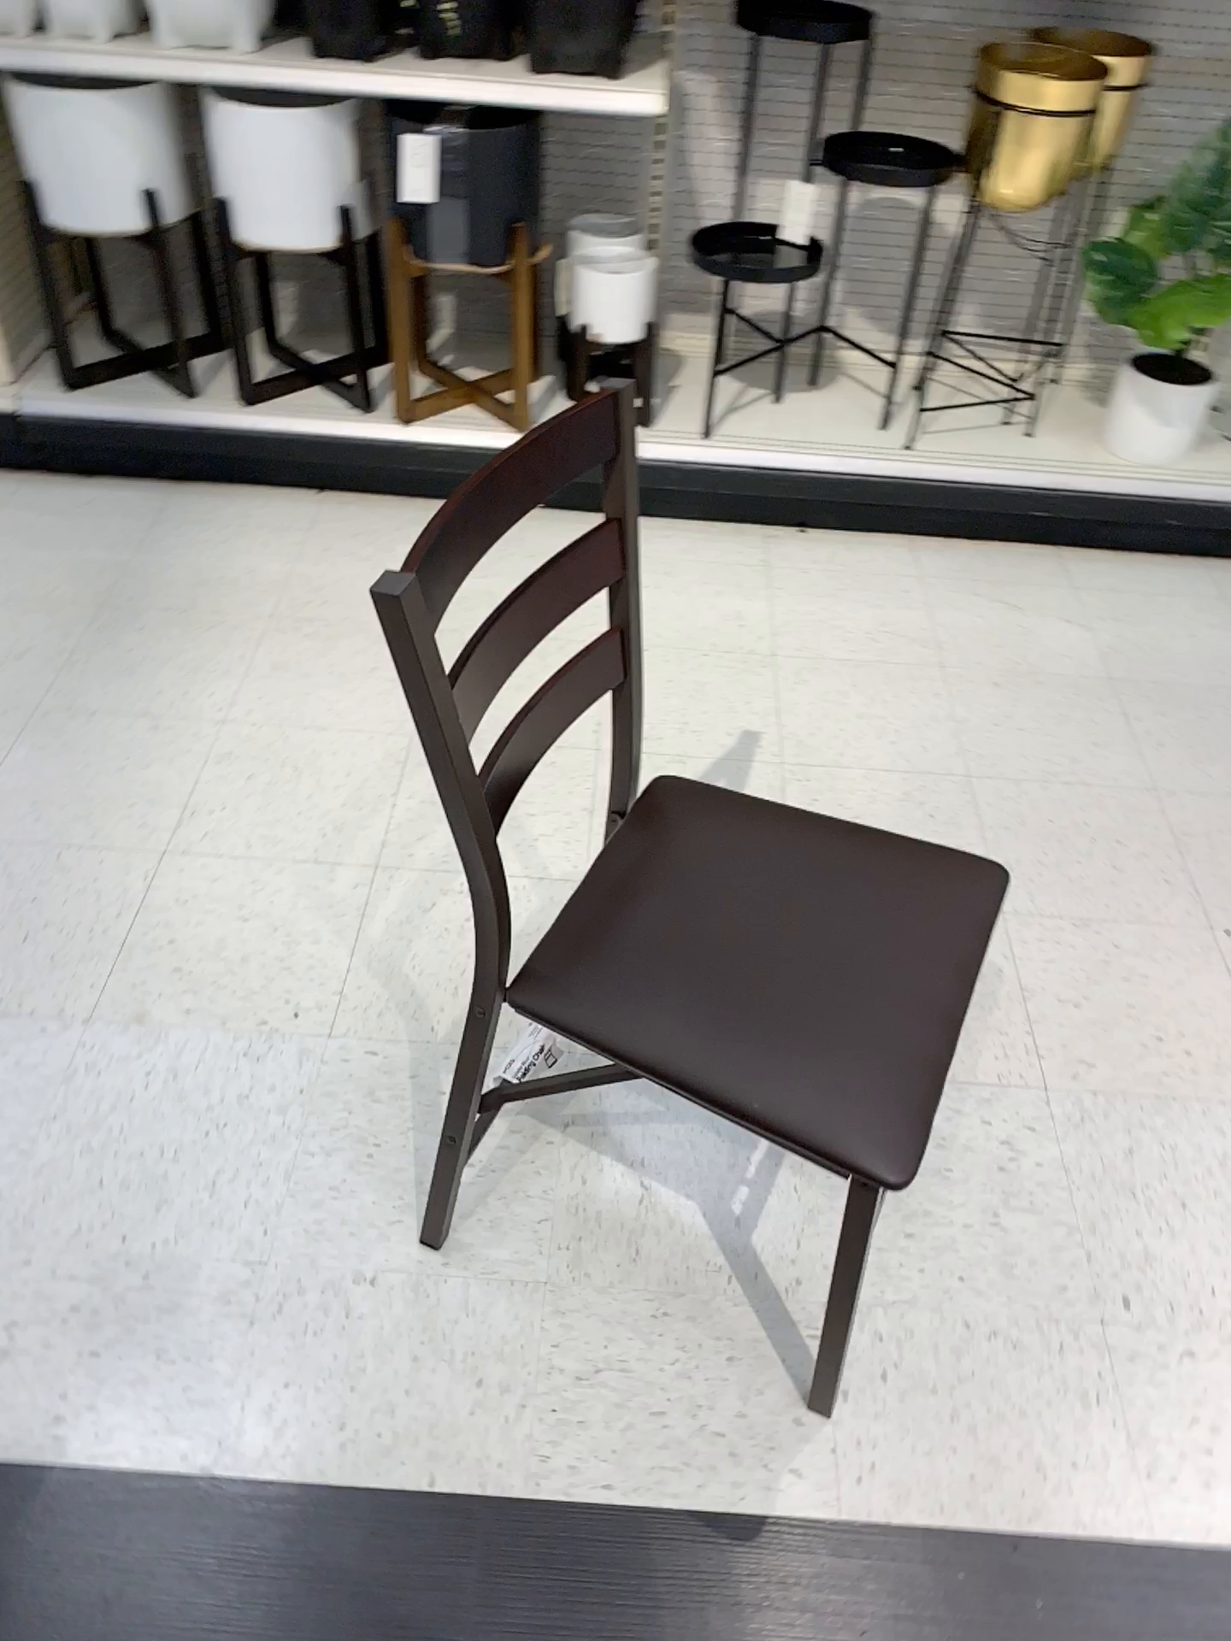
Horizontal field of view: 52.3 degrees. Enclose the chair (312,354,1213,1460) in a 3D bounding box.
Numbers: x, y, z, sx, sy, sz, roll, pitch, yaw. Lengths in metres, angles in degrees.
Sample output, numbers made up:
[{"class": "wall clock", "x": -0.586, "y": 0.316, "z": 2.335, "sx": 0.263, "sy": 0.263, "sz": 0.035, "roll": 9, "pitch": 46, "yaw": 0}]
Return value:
[{"class": "chair", "x": 0.112, "y": 0.104, "z": 1.171, "sx": 0.520, "sy": 0.826, "sz": 0.442, "roll": 20, "pitch": 45, "yaw": 17}]
